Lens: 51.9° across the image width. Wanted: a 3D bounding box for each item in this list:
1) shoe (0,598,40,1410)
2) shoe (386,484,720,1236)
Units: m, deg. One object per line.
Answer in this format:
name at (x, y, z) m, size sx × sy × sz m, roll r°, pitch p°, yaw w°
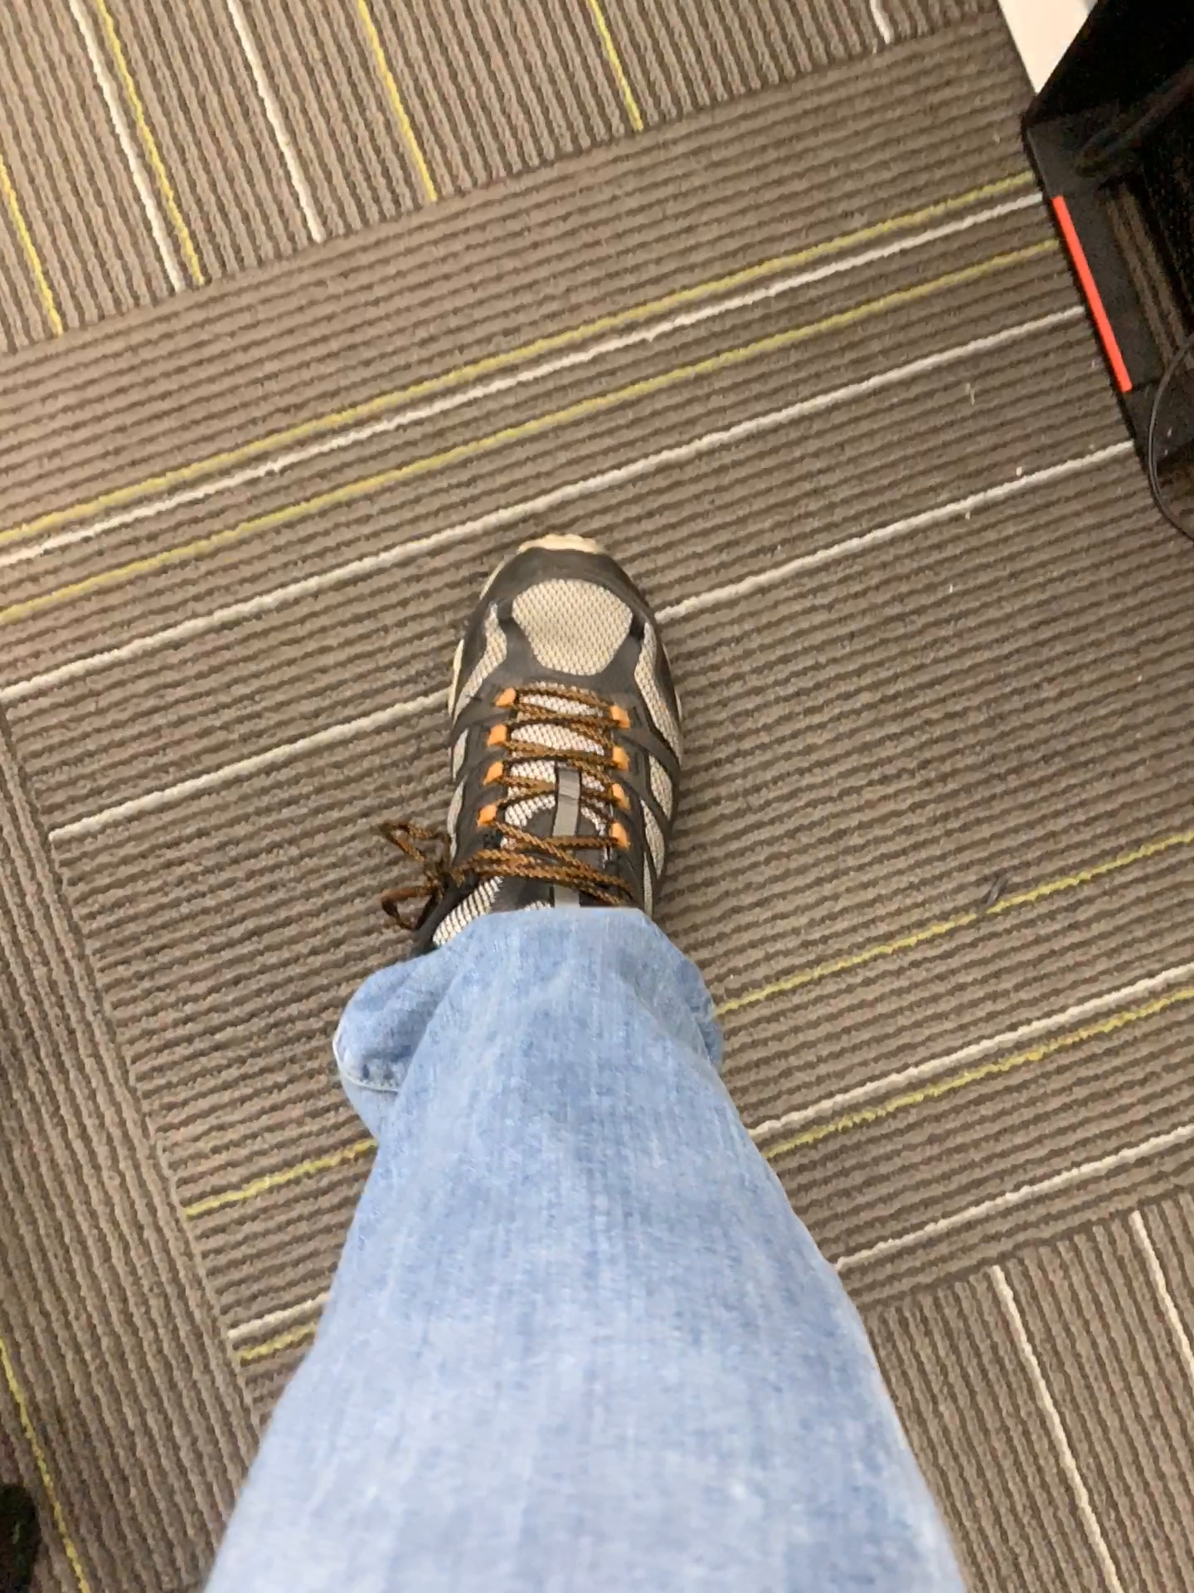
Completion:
shoe at (-0.384, 0.088, 0.572) m, size 0.125 × 0.095 × 0.323 m, roll -16°, pitch 89°, yaw -2°
shoe at (-0.020, 0.028, 0.587) m, size 0.122 × 0.095 × 0.322 m, roll 4°, pitch 88°, yaw -2°
